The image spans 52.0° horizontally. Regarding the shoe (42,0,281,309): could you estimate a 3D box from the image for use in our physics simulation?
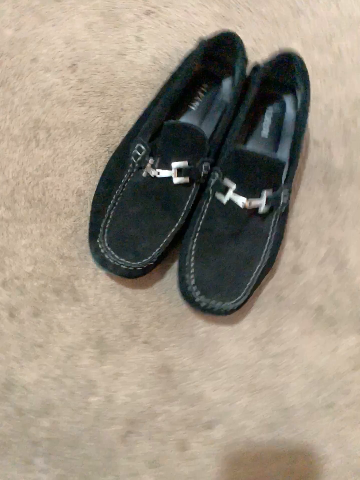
[{"bbox_3d":[-0.007,-0.099,0.371,0.100,0.100,0.311,22,76,2],"label":"shoe"}]

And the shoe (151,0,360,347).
[{"bbox_3d":[0.078,-0.067,0.364,0.100,0.100,0.311,22,76,2],"label":"shoe"}]
